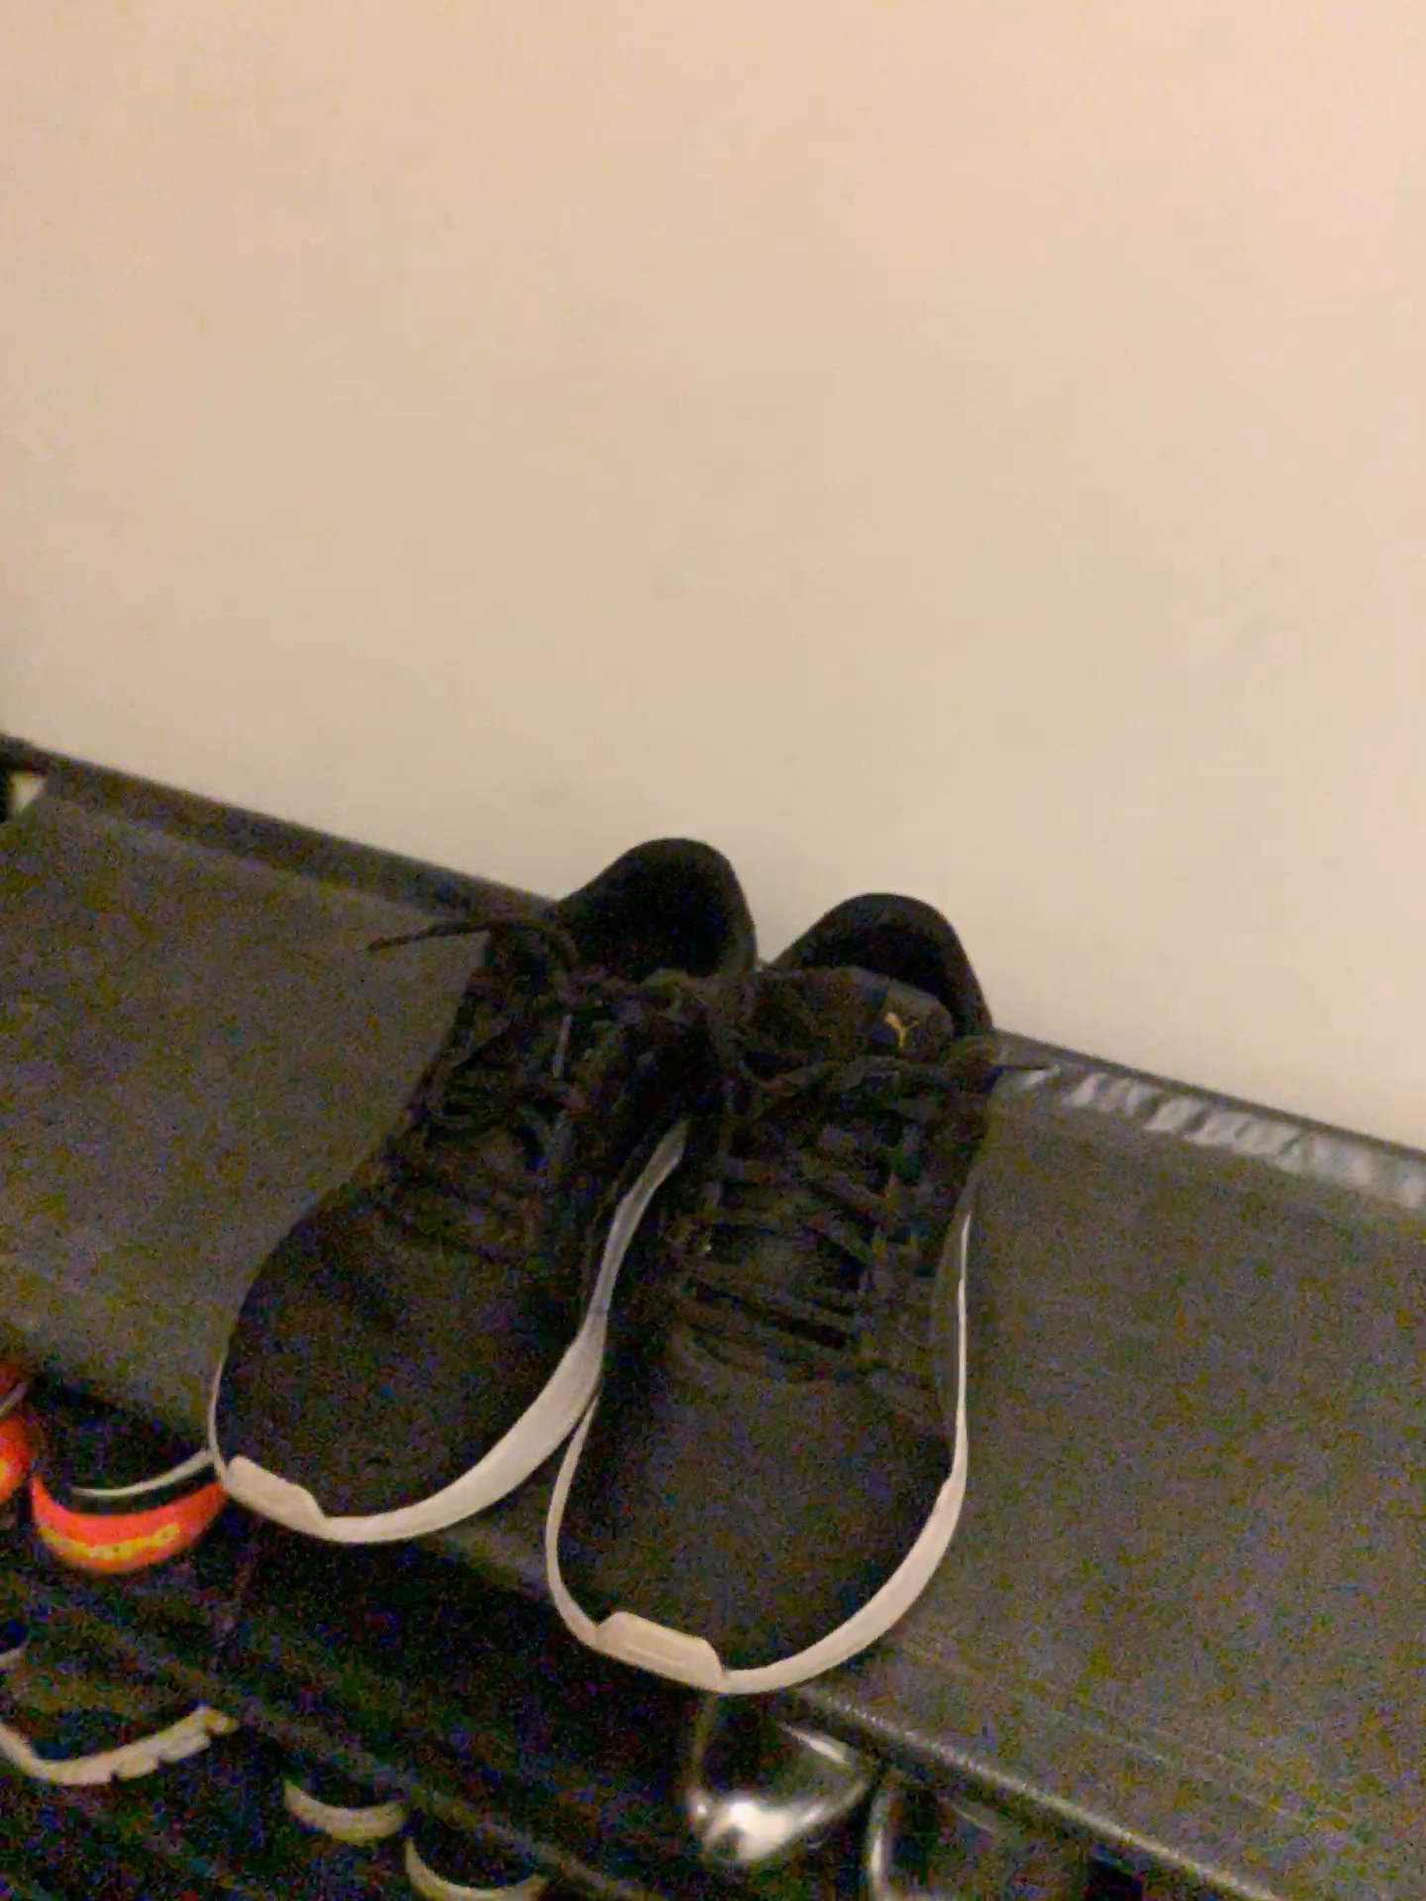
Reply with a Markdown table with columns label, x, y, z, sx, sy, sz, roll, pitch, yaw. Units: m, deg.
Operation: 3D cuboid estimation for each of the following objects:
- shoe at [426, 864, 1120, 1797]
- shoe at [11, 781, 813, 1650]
| label | x | y | z | sx | sy | sz | roll | pitch | yaw |
| --- | --- | --- | --- | --- | --- | --- | --- | --- | --- |
| shoe | 0.035 | 0.080 | 0.431 | 0.110 | 0.069 | 0.262 | 15 | 37 | 16 |
| shoe | -0.065 | 0.054 | 0.438 | 0.110 | 0.089 | 0.242 | 15 | 37 | 16 |
